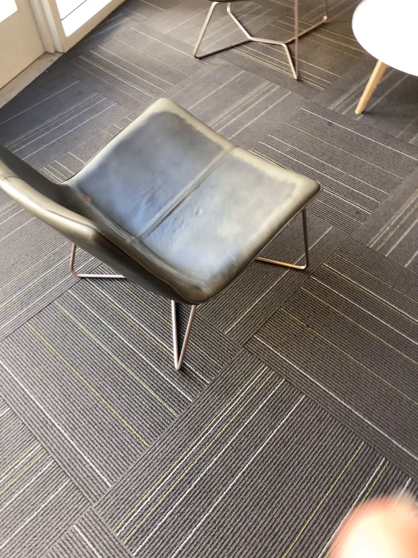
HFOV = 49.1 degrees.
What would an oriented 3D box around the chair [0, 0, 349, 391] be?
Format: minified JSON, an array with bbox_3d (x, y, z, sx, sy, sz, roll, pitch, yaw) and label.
[{"bbox_3d":[-0.130,-0.269,1.333,0.671,0.877,0.651,37,70,26],"label":"chair"}]
